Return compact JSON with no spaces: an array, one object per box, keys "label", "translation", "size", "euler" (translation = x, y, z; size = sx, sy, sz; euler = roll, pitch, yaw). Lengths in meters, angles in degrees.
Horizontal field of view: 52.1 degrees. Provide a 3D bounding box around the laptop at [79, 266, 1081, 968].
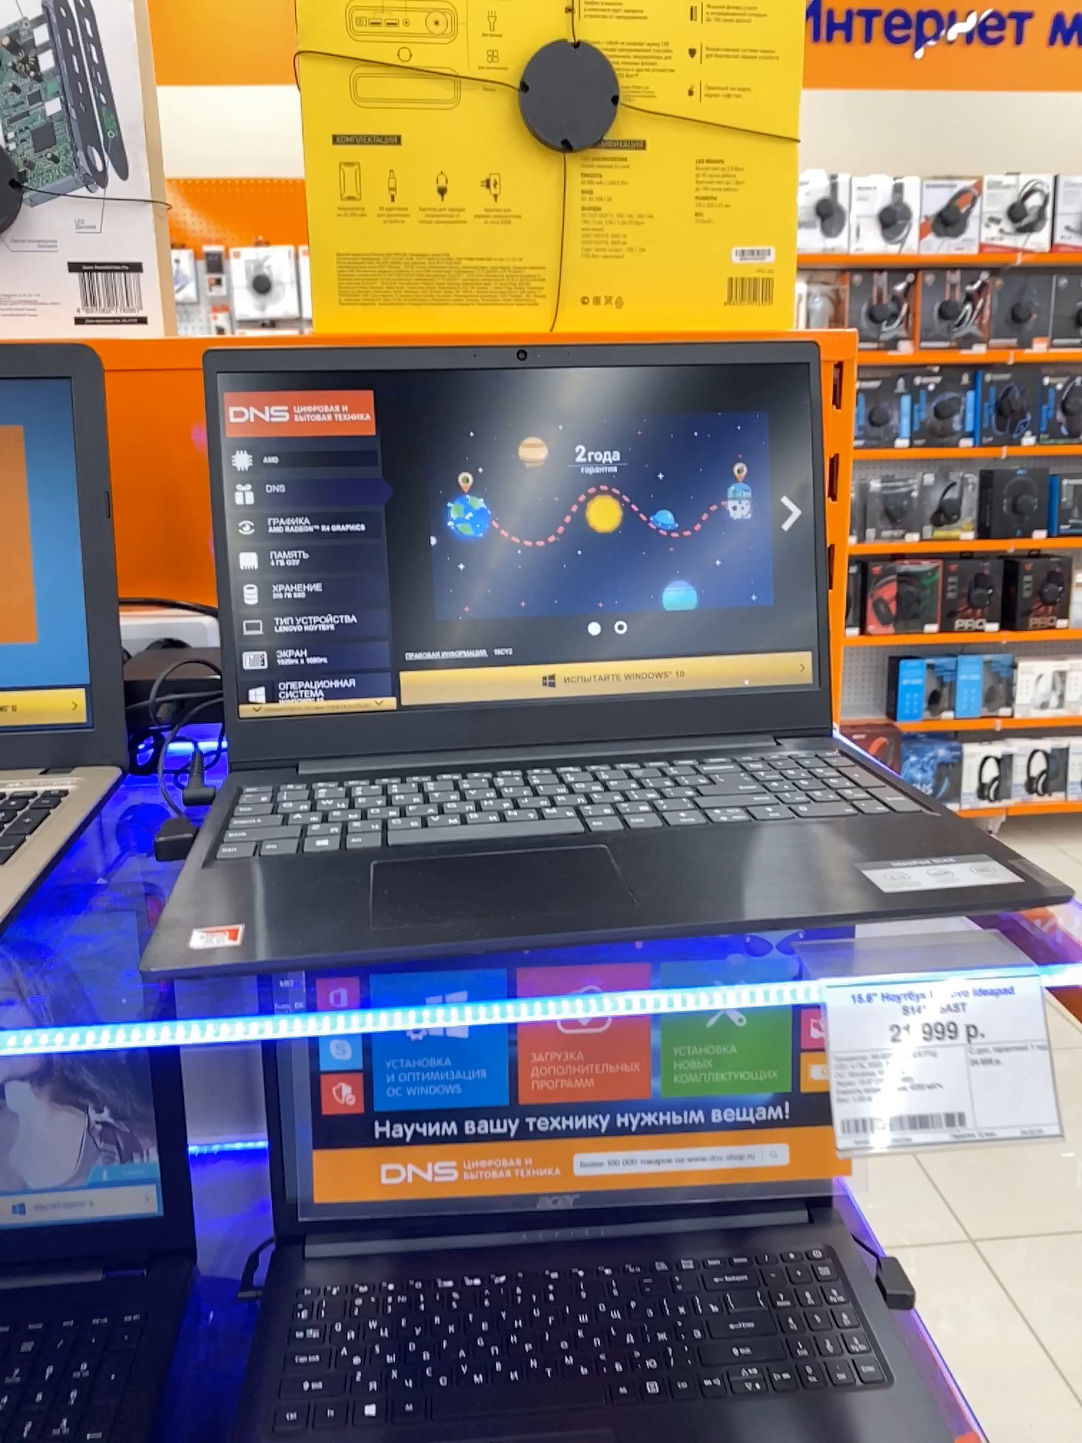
[{"label":"laptop","translation":[0.014,-0.071,0.538],"size":[0.358,0.233,0.298],"euler":[-3,14,-7]}]
